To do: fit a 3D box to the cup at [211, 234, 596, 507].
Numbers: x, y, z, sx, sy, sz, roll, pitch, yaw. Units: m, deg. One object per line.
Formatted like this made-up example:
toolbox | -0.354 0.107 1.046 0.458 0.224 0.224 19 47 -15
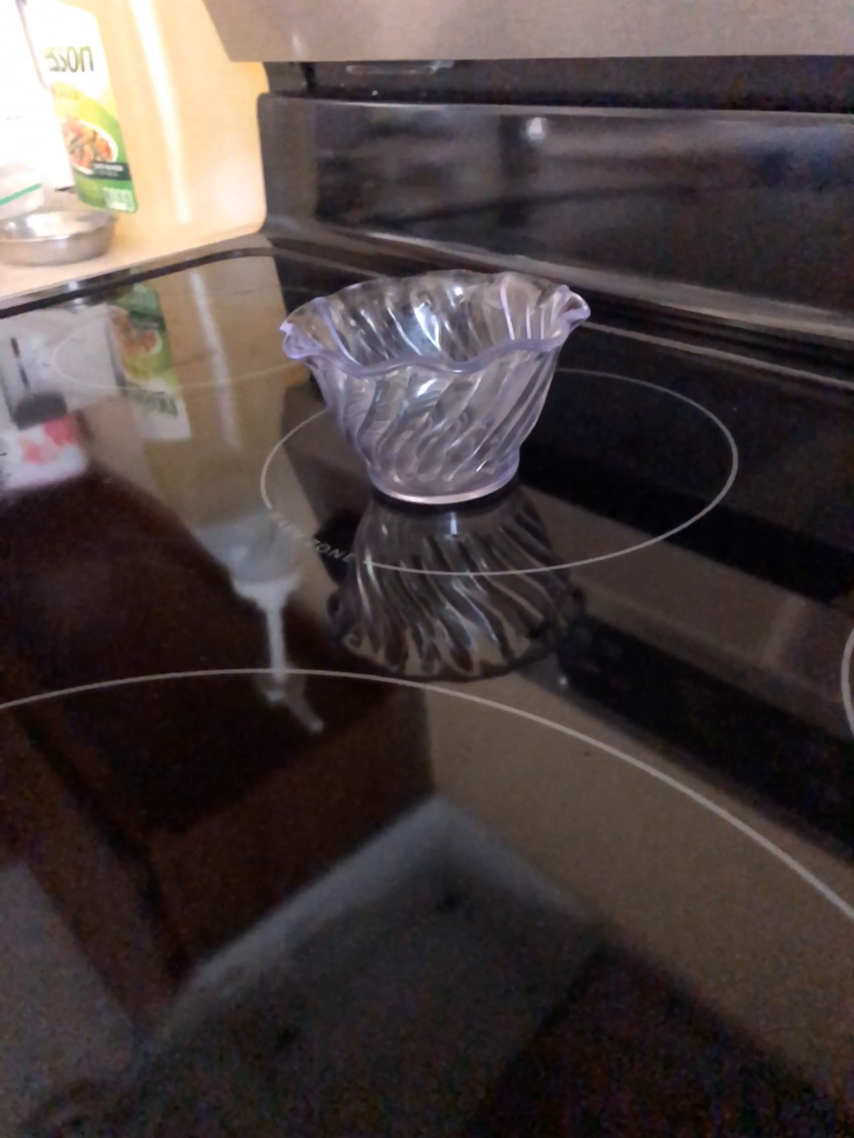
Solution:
cup | 0.002 -0.066 0.303 0.101 0.052 0.100 -4 31 3
